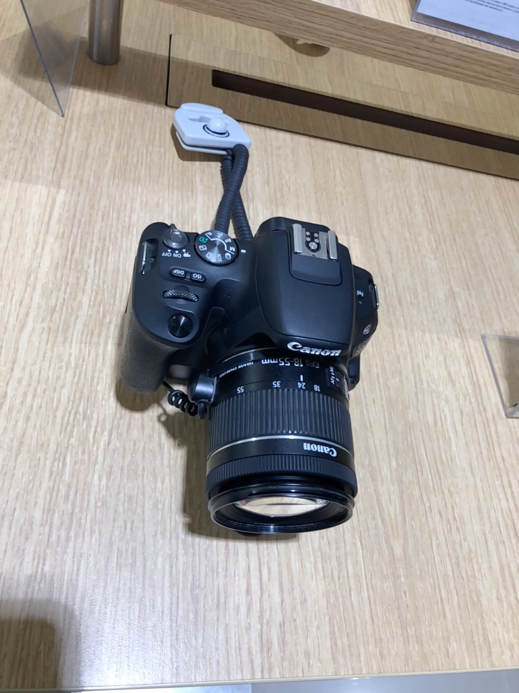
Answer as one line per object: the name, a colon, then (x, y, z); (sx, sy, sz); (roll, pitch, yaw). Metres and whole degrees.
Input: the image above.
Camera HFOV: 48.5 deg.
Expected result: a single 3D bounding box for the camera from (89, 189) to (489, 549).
camera: (0.003, 0.015, 0.243); (0.130, 0.080, 0.115); (7, 58, -14)
